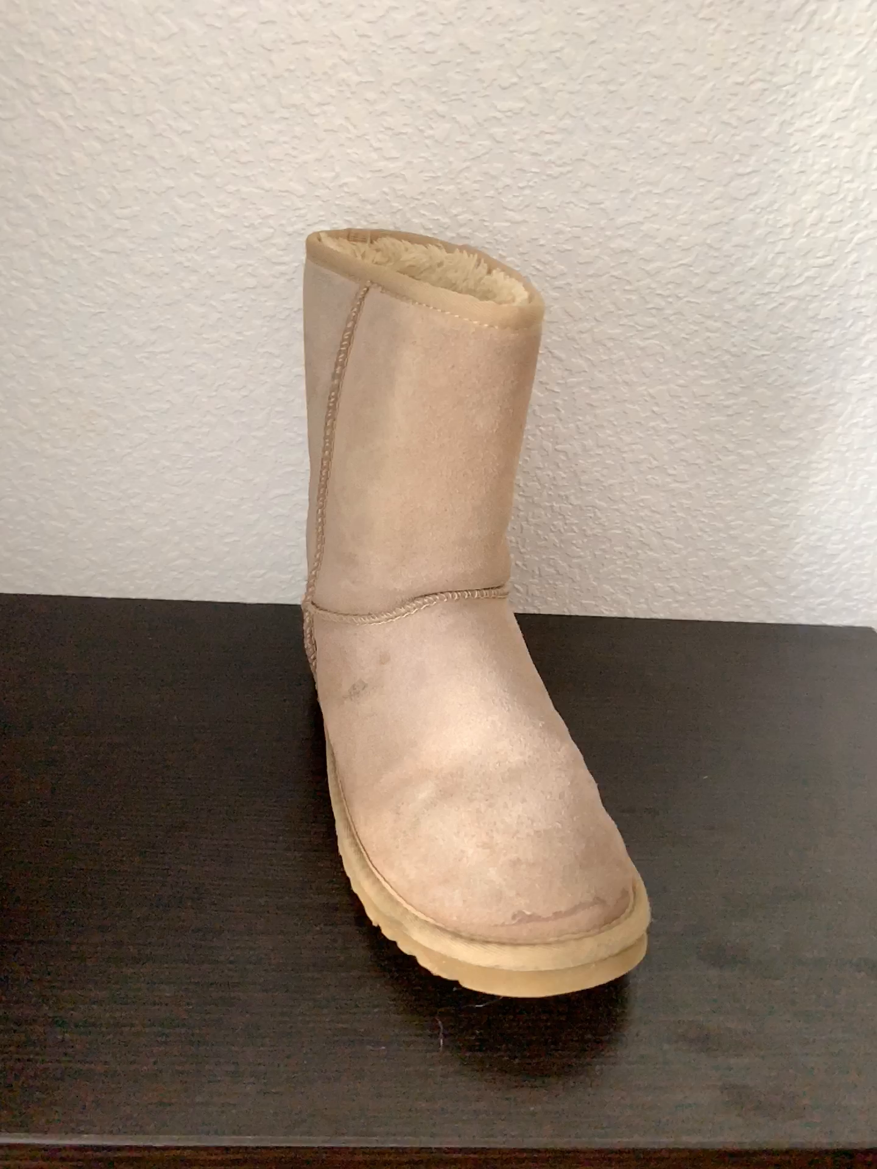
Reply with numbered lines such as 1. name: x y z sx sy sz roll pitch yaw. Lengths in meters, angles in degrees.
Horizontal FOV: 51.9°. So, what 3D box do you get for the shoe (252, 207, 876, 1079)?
1. shoe: 0.009 -0.009 0.362 0.116 0.229 0.261 -6 31 -19
